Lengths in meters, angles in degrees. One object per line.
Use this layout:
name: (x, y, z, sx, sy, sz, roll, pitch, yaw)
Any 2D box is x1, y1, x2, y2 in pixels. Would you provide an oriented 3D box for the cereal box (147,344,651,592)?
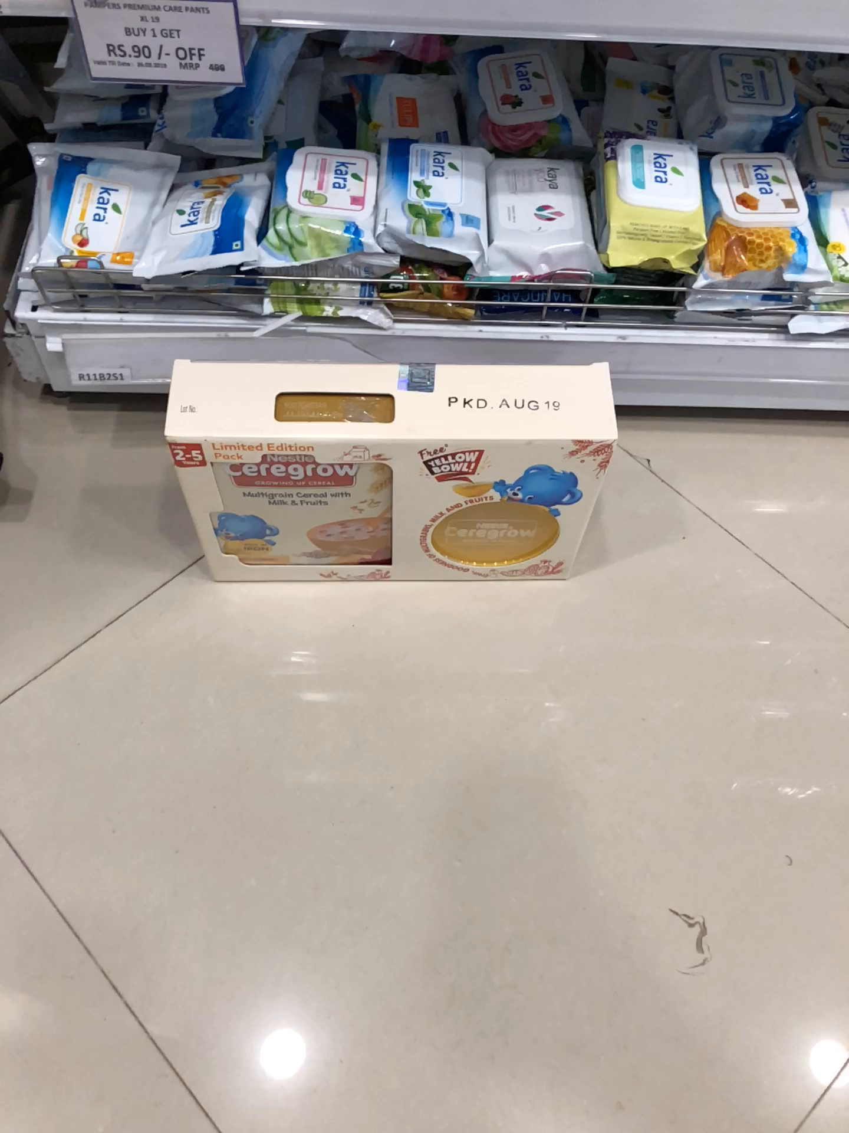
cereal box: (-0.018, -0.061, 0.684, 0.310, 0.209, 0.070, 0, 61, -2)
